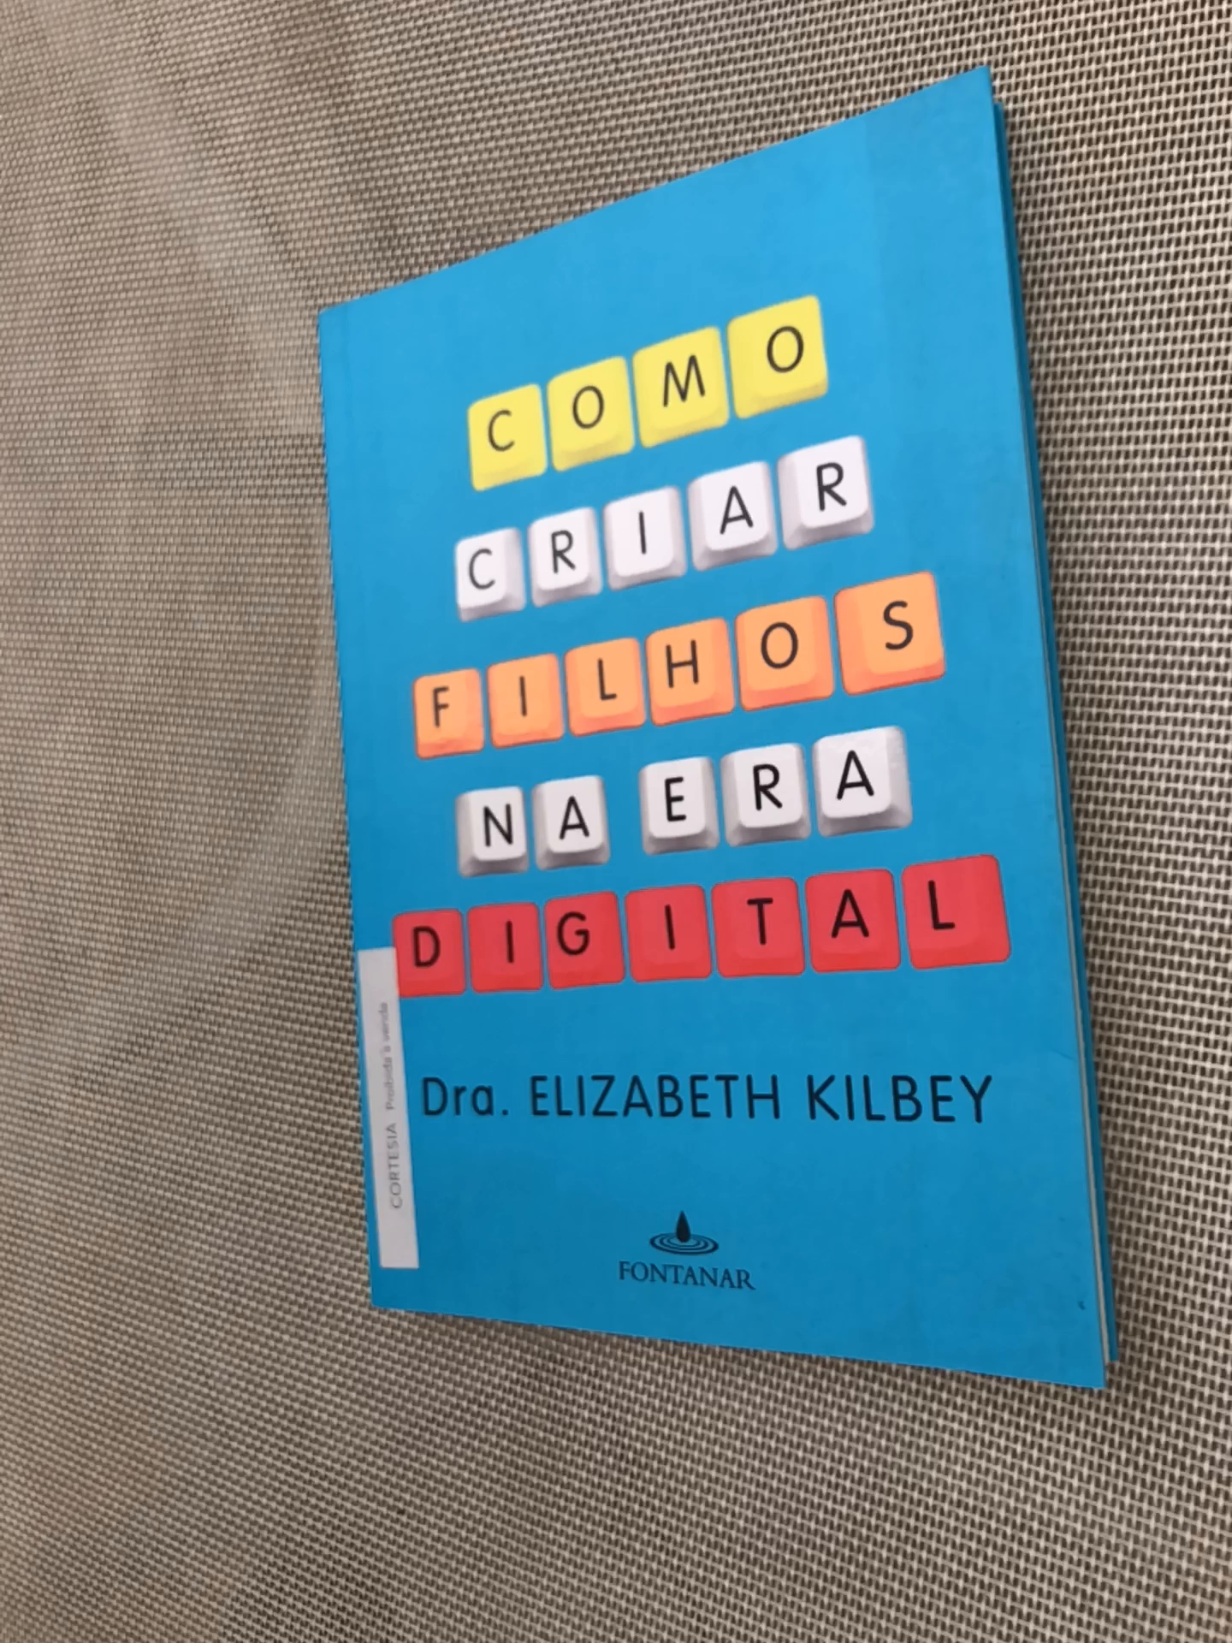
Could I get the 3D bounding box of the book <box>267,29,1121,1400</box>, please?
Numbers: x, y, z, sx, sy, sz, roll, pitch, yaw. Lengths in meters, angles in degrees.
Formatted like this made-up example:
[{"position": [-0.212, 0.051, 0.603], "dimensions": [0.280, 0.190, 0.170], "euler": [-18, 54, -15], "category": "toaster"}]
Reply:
[{"position": [0.003, -0.014, 0.276], "dimensions": [0.163, 0.020, 0.228], "euler": [-7, 84, 30], "category": "book"}]
